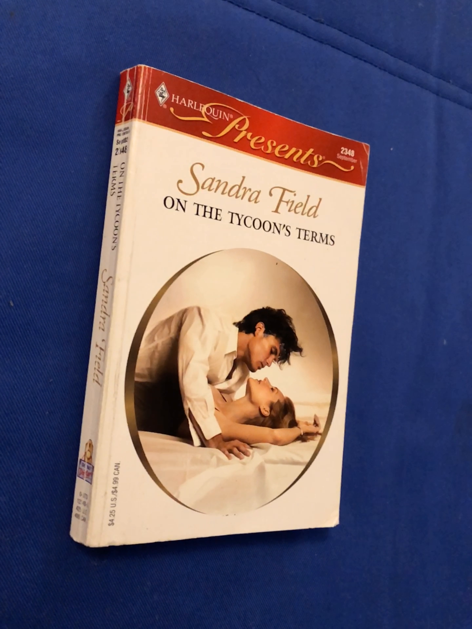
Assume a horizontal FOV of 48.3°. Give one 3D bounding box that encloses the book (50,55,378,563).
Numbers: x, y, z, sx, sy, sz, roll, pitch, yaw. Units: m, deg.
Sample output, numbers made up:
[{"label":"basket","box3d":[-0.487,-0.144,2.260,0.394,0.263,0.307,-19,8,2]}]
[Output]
[{"label":"book","box3d":[-0.002,0.003,0.195,0.107,0.020,0.157,8,87,-28]}]
